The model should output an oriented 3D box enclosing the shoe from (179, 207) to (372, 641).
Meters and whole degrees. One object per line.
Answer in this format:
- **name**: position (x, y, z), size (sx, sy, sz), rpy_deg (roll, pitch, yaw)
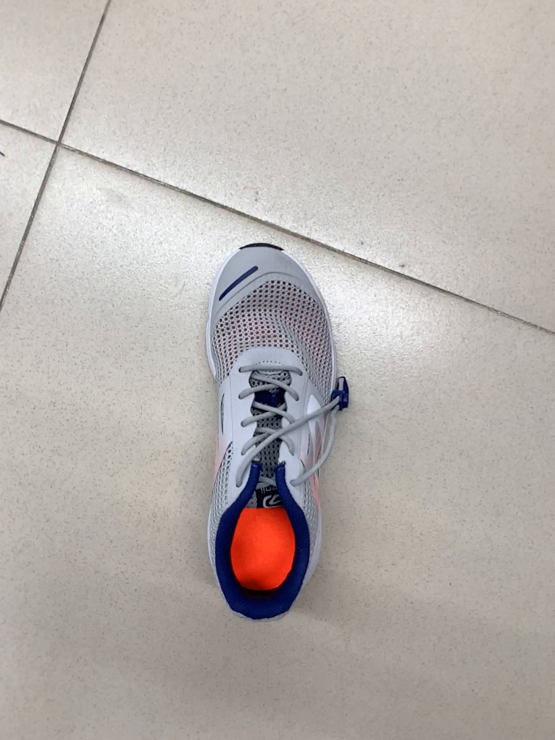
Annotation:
- **shoe**: position (-0.004, 0.033, 0.381), size (0.100, 0.100, 0.250), rpy_deg (3, 92, -3)
